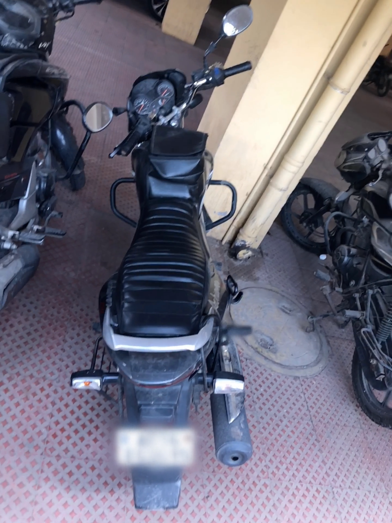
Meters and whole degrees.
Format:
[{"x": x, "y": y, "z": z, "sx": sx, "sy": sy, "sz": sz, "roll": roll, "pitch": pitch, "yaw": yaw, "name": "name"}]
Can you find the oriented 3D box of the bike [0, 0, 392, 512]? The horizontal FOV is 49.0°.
[{"x": -0.246, "y": -0.219, "z": 1.712, "sx": 0.731, "sy": 1.126, "sz": 1.767, "roll": 13, "pitch": 37, "yaw": -21, "name": "bike"}]
